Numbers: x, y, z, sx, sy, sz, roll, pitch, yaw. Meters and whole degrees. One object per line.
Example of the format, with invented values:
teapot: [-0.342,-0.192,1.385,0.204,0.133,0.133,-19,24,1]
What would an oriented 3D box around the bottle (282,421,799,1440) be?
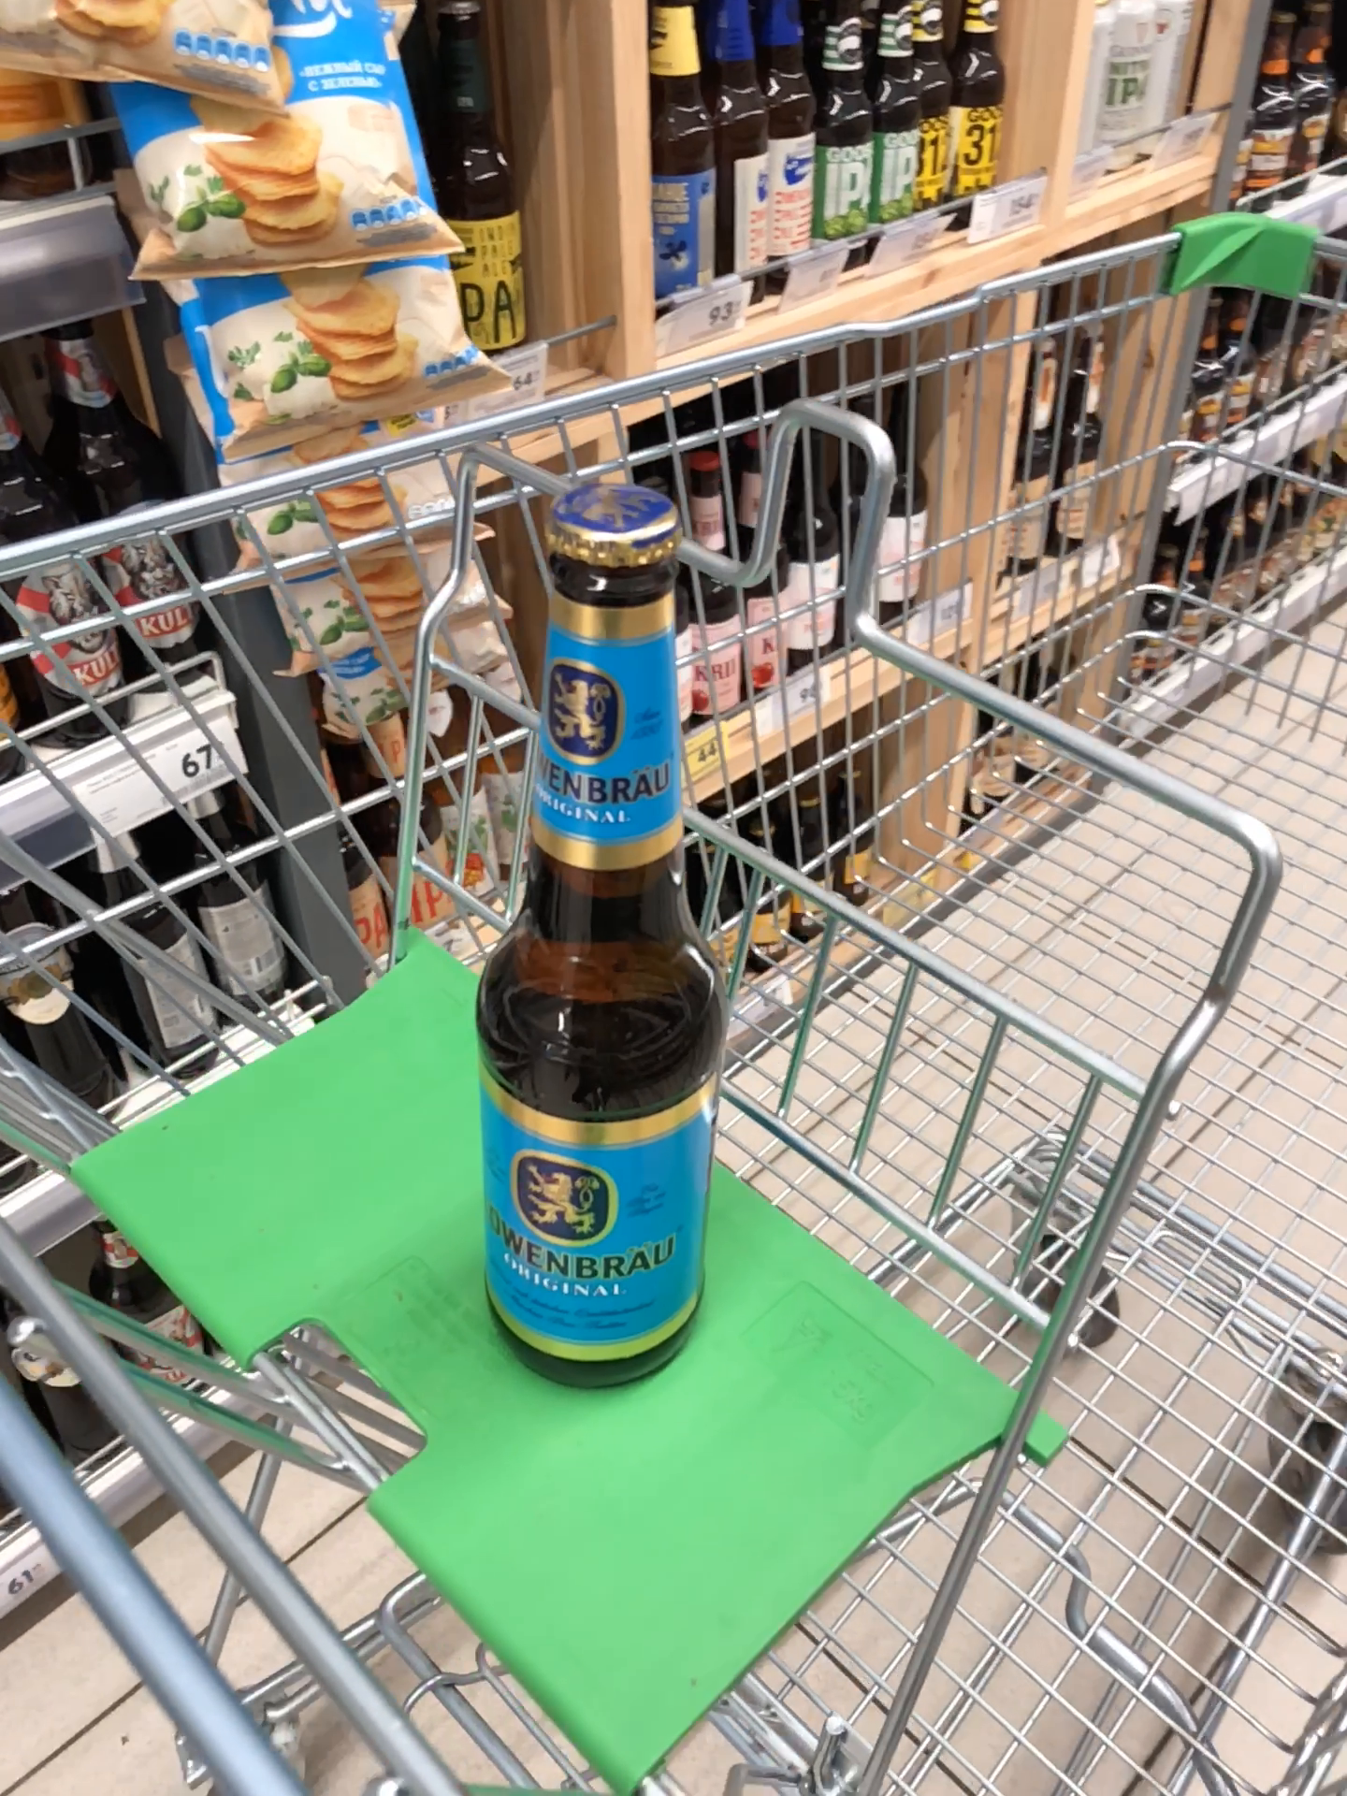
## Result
bottle: [-0.027,0.021,0.372,0.080,0.249,0.070,15,39,18]
